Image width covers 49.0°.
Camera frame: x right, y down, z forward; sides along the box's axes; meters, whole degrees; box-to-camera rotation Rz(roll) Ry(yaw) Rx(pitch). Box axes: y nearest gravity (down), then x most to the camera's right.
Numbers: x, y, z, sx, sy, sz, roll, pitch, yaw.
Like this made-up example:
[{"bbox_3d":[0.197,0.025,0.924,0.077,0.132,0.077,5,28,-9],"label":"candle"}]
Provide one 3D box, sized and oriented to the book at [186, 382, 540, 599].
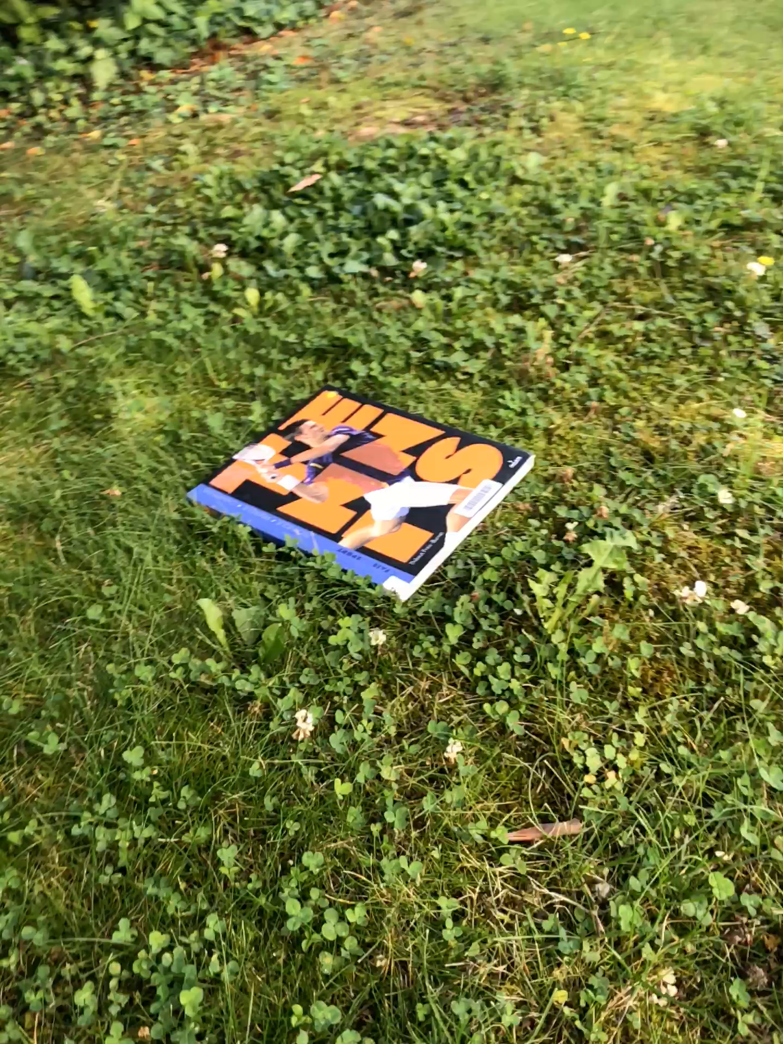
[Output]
[{"bbox_3d":[-0.025,-0.042,0.754,0.240,0.016,0.199,21,47,31],"label":"book"}]
